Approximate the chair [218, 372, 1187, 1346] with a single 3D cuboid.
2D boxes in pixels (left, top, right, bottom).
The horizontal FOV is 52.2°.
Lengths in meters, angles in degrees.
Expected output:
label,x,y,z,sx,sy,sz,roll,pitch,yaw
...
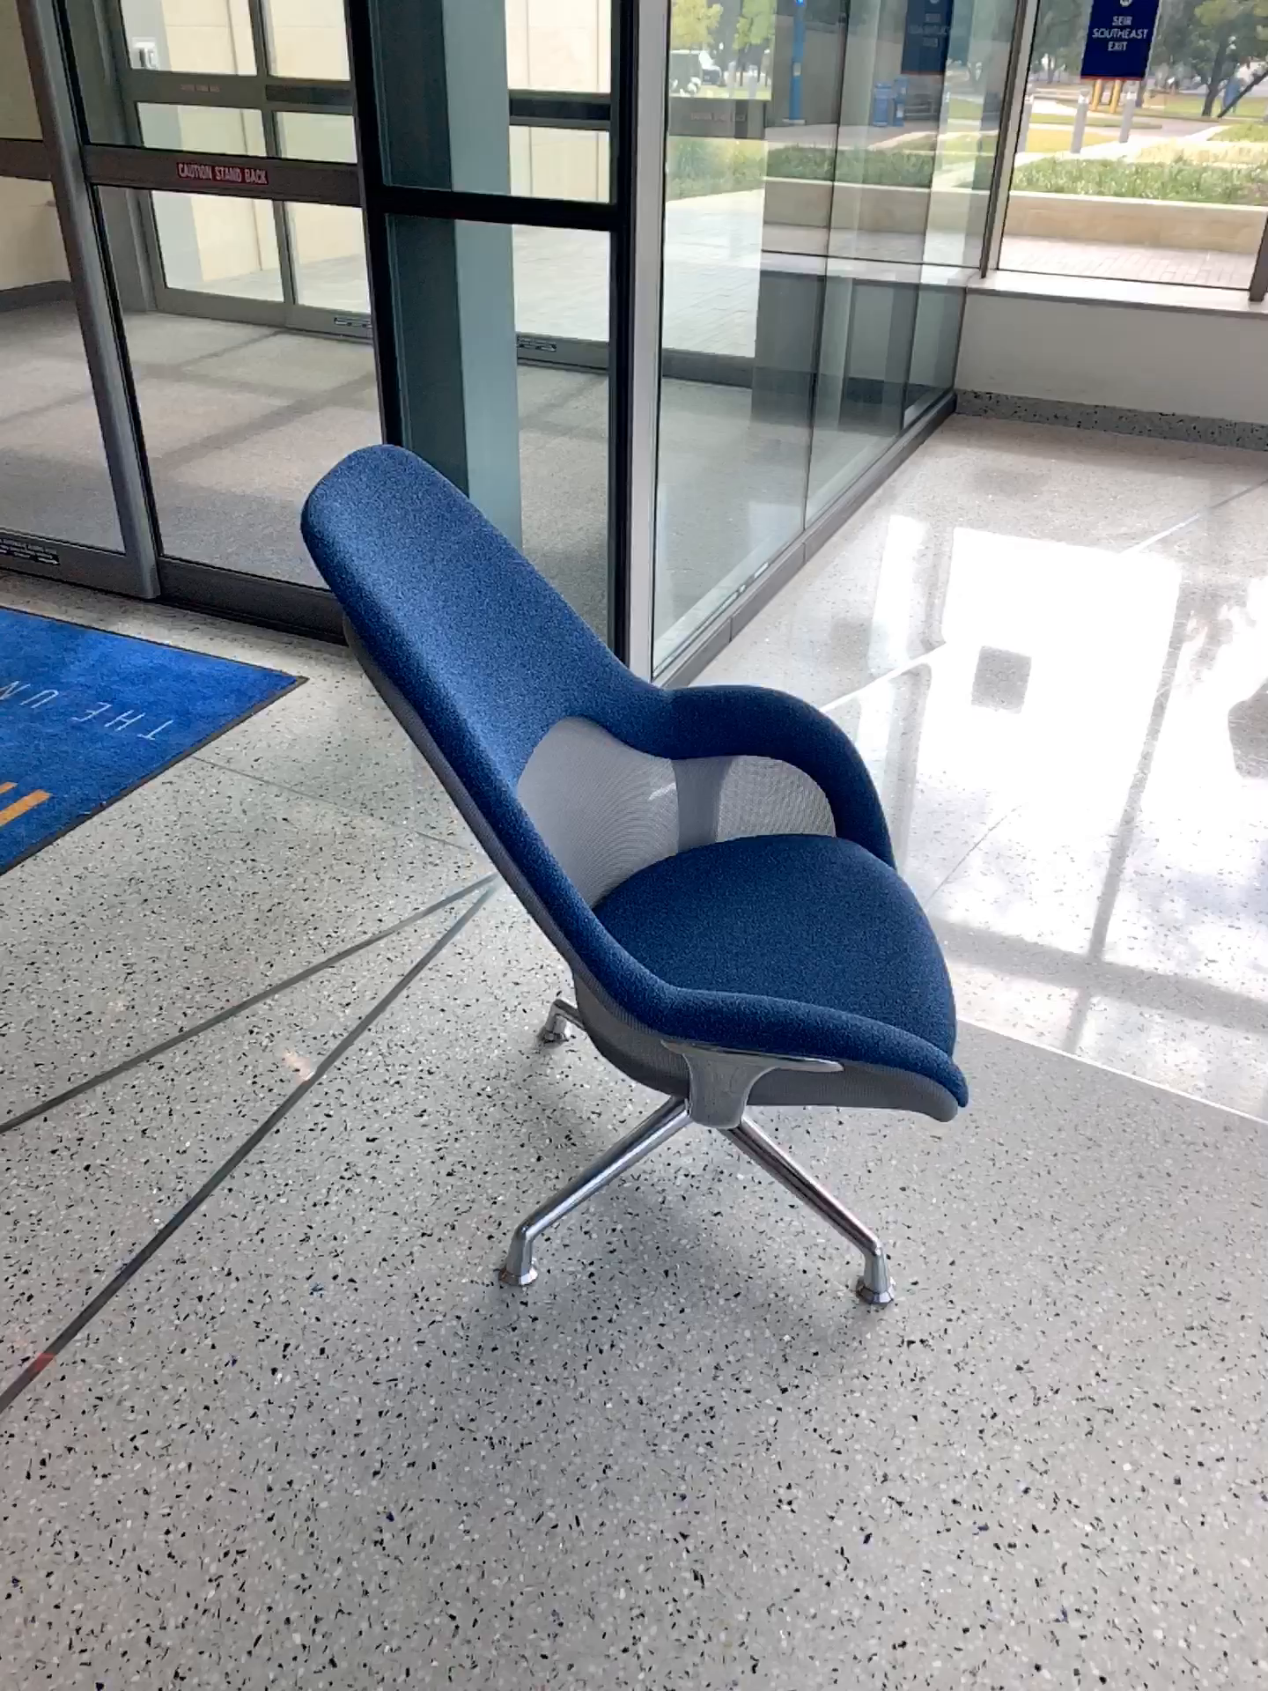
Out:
label,x,y,z,sx,sy,sz,roll,pitch,yaw
chair,0.055,-0.010,1.603,0.784,0.933,0.730,2,32,1
